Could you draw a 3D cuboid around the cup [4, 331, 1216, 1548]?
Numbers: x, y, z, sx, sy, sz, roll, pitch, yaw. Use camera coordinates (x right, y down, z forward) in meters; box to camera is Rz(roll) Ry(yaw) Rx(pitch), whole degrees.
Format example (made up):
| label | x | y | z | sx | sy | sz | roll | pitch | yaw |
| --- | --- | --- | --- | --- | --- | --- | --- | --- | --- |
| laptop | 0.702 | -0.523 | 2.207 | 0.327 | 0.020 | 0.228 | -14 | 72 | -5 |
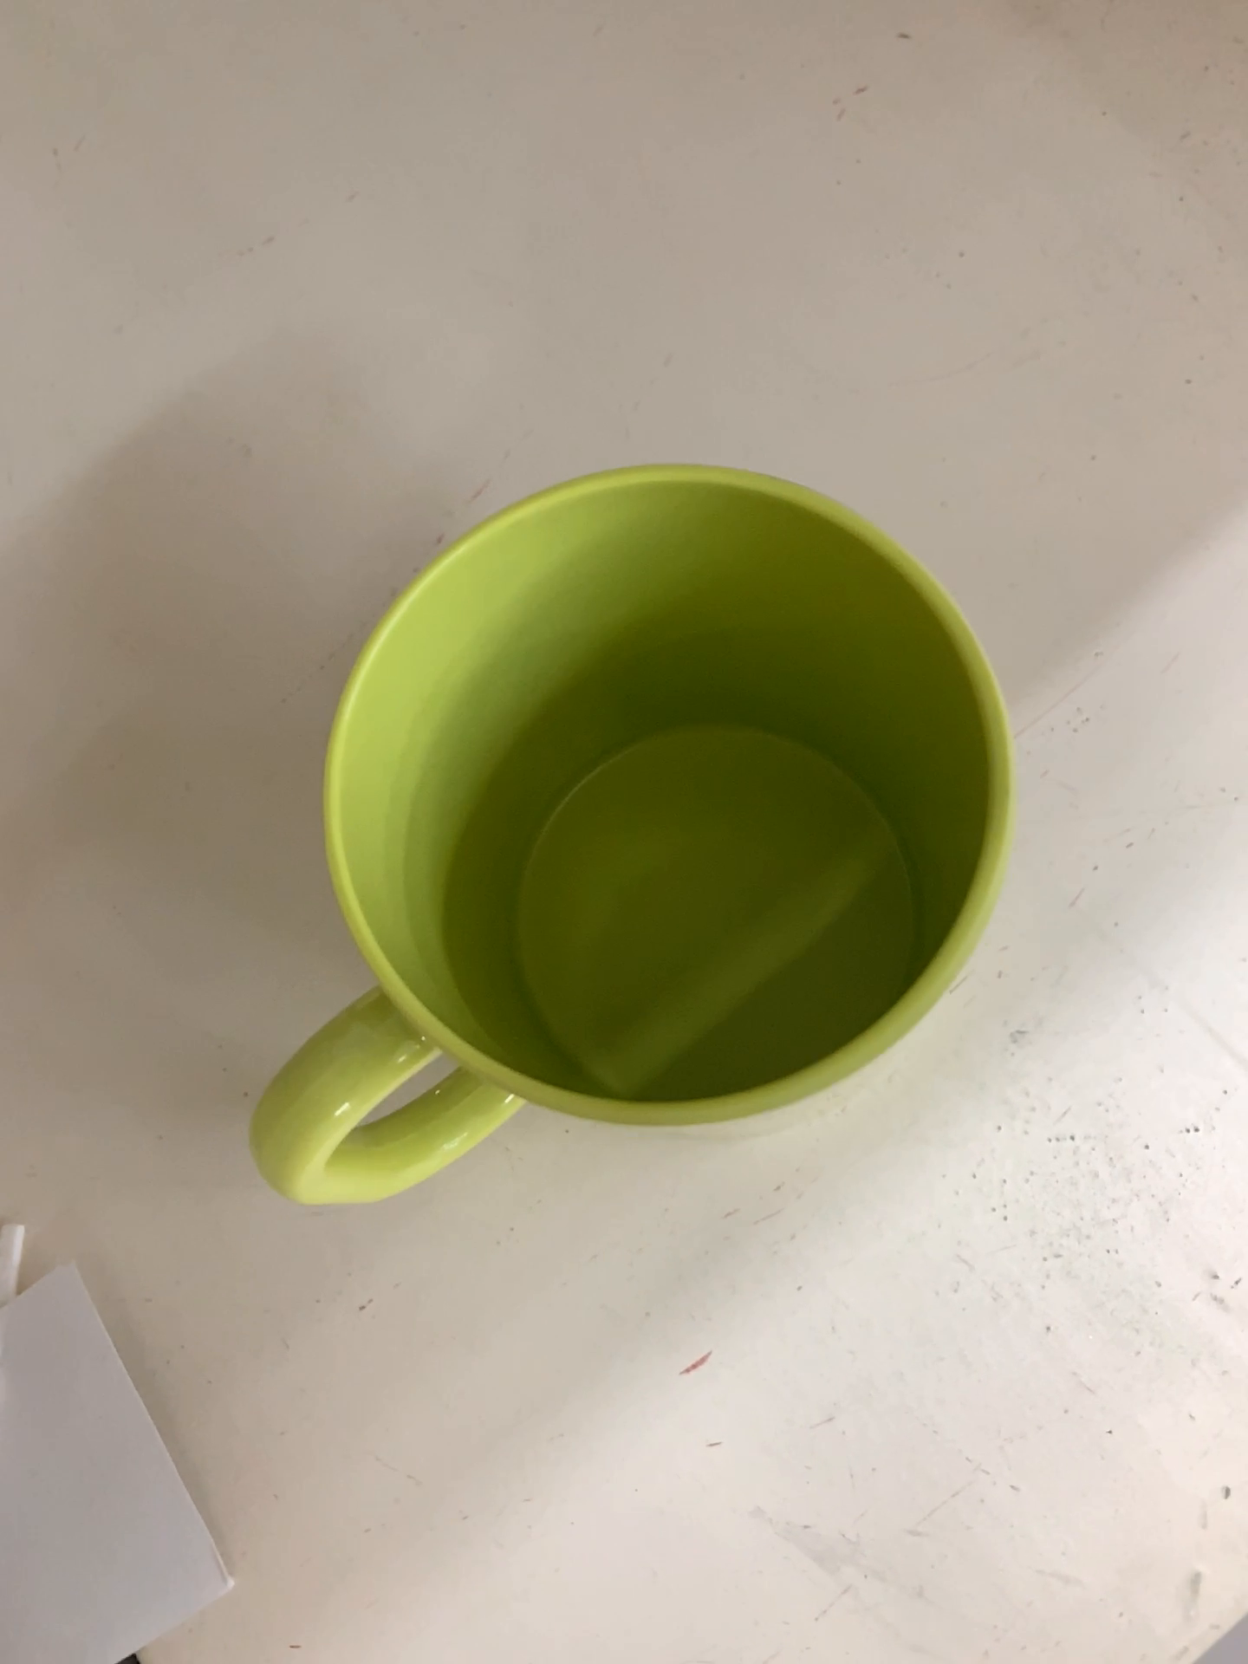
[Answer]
| label | x | y | z | sx | sy | sz | roll | pitch | yaw |
| --- | --- | --- | --- | --- | --- | --- | --- | --- | --- |
| cup | 0.001 | 0.011 | 0.155 | 0.077 | 0.063 | 0.089 | 40 | 83 | 18 |
